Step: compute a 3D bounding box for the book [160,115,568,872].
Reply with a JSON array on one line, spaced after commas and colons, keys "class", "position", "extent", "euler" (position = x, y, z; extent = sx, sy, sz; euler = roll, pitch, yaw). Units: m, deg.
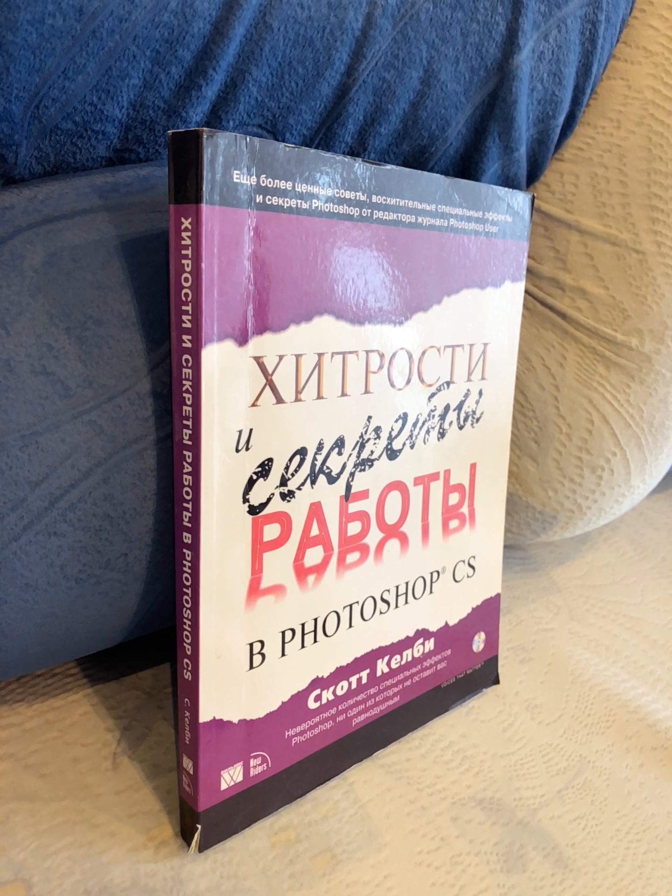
[{"class": "book", "position": [0.022, 0.014, 0.336], "extent": [0.210, 0.271, 0.030], "euler": [-10, 18, -43]}]
